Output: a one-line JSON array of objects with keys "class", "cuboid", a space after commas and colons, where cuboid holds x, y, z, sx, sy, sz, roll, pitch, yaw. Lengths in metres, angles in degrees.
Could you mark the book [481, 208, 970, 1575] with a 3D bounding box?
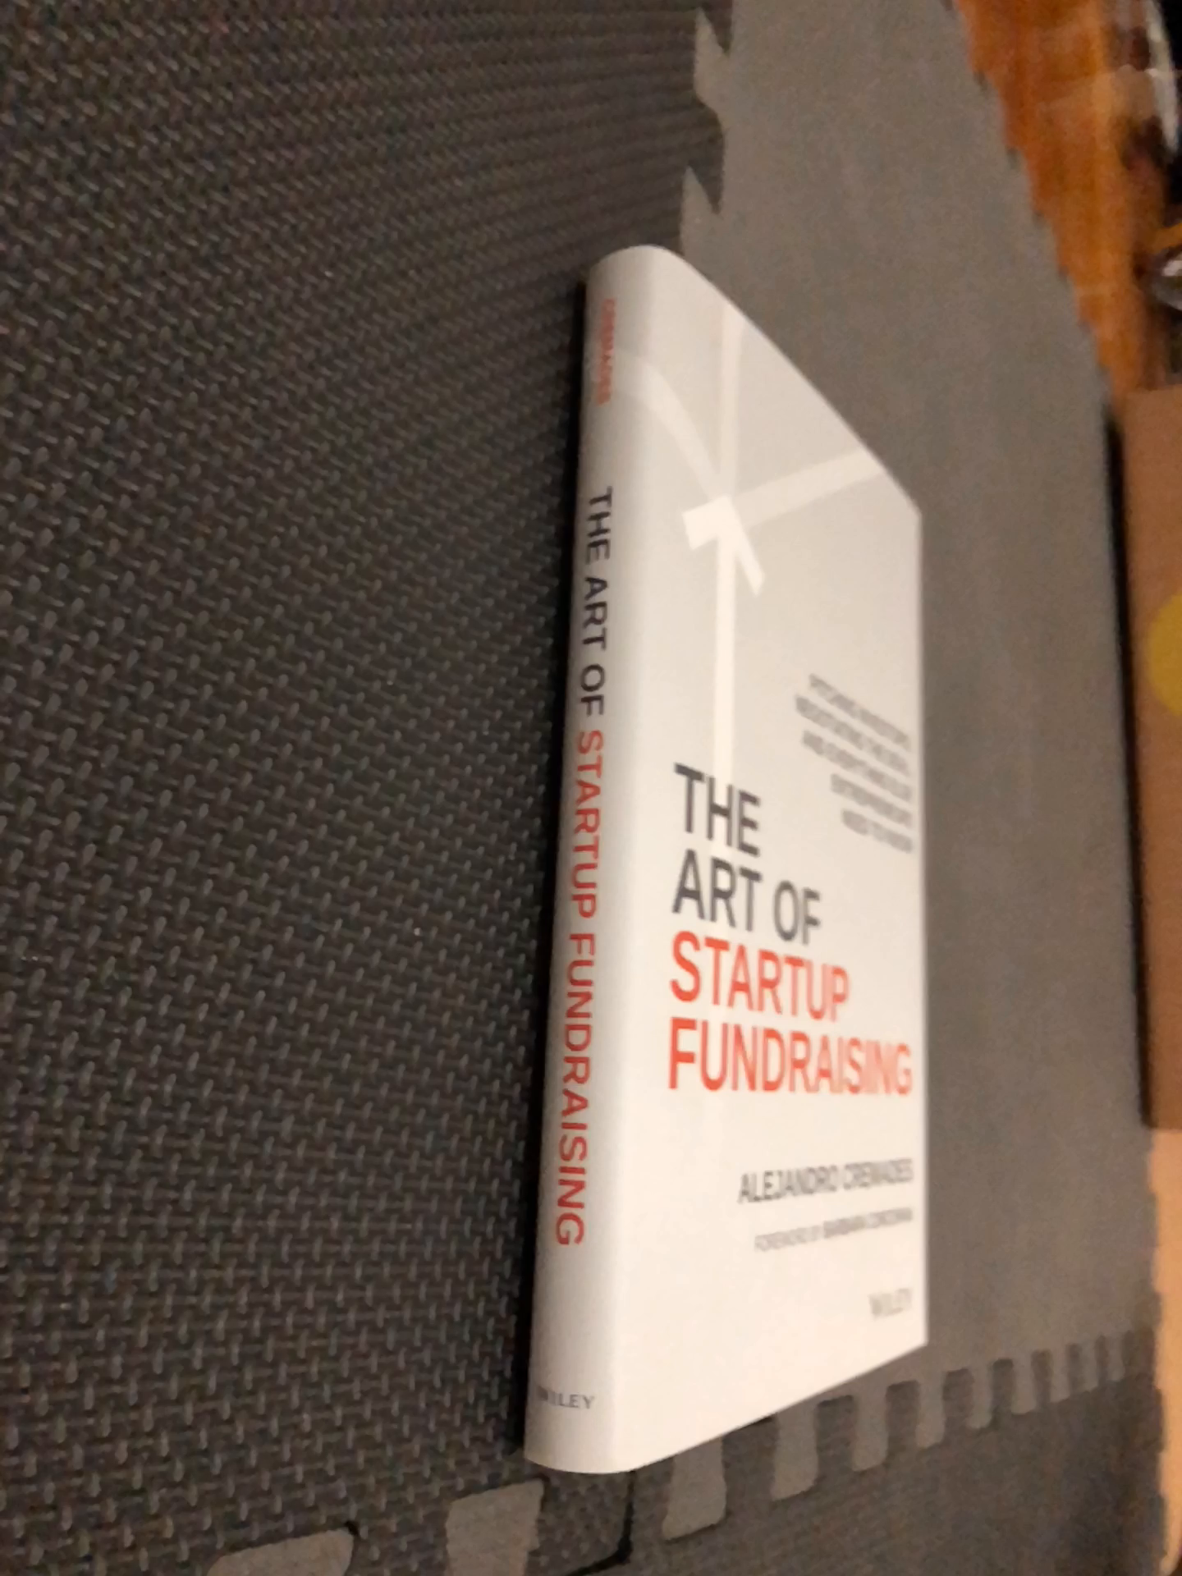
[{"class": "book", "cuboid": [0.045, 0.024, 0.315, 0.171, 0.030, 0.250, 23, 66, -54]}]
